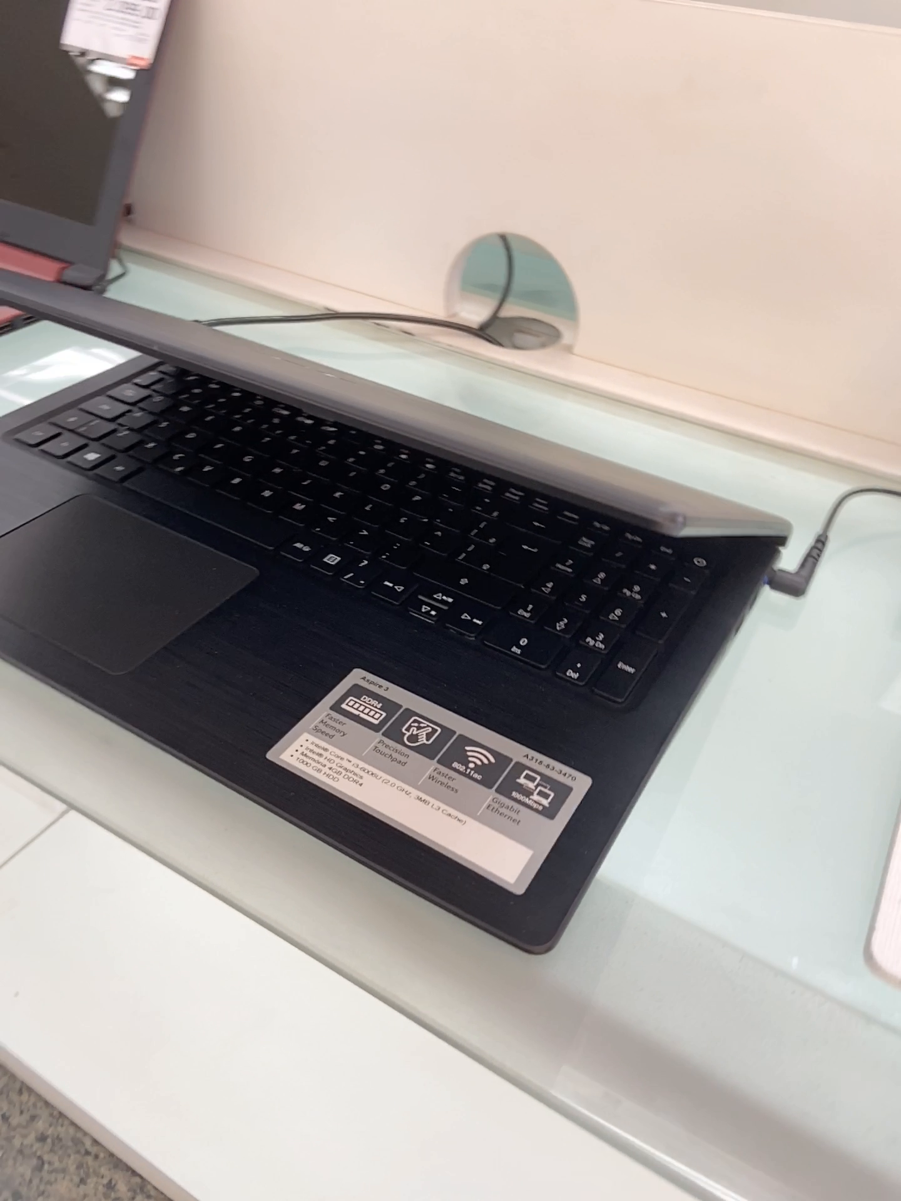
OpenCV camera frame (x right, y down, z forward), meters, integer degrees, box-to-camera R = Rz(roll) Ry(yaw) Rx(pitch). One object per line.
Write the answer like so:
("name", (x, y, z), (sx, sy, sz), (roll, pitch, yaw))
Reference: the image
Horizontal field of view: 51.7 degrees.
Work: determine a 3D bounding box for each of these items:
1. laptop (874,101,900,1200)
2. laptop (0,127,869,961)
("laptop", (0.374, 0.011, 0.269), (0.381, 0.165, 0.353), (22, 43, 19))
("laptop", (-0.071, -0.076, 0.378), (0.379, 0.123, 0.240), (22, 43, 23))
